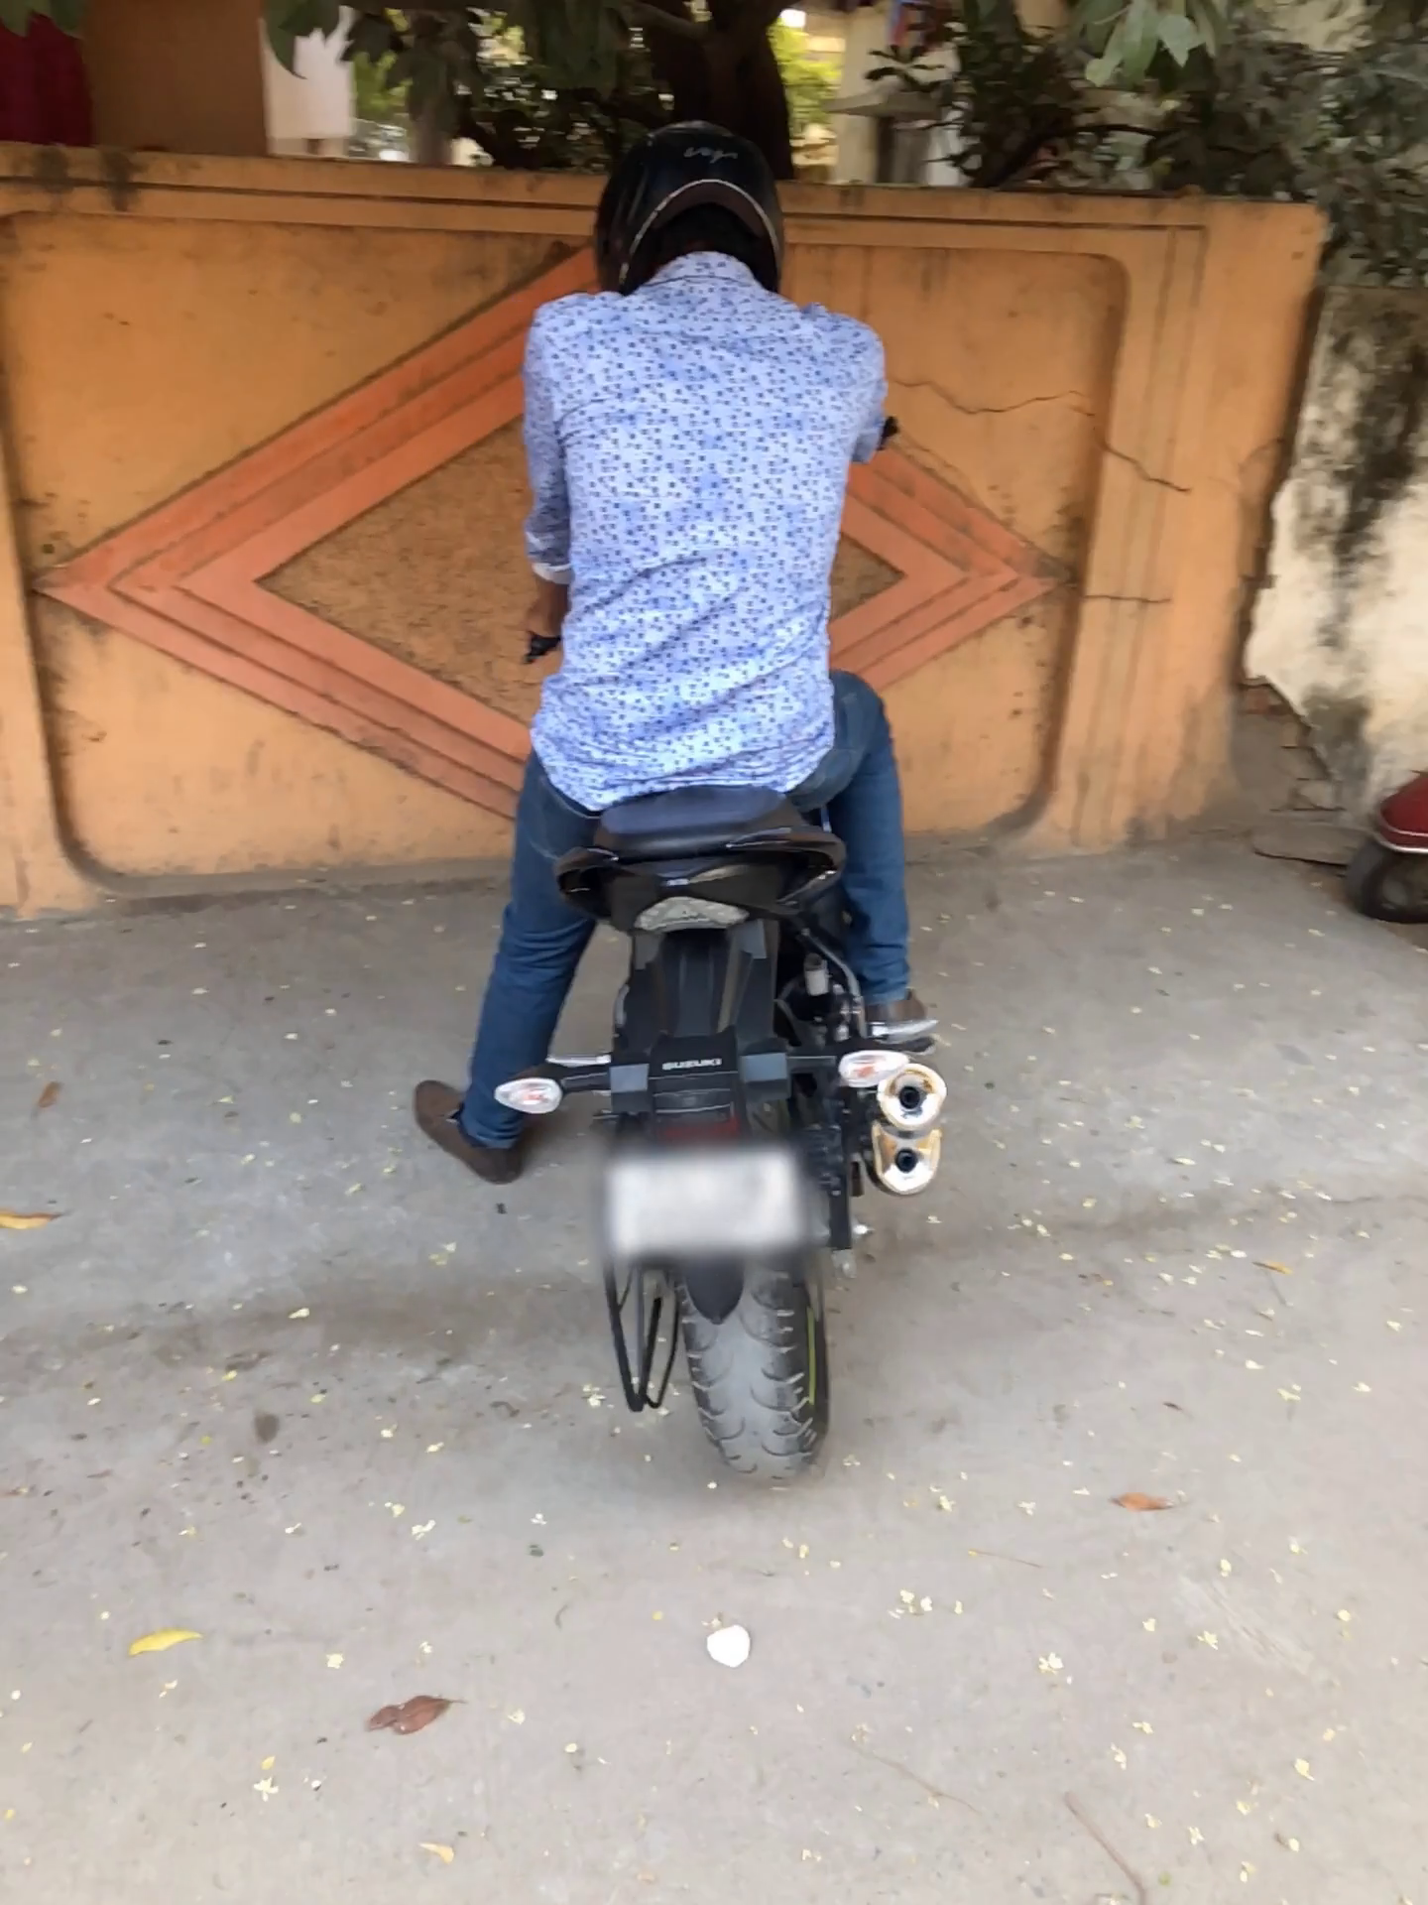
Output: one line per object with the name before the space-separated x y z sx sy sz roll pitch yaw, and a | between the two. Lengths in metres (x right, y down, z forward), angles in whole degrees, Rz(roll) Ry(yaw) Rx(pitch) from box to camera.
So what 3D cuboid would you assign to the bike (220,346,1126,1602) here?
bike | -0.139 -0.205 2.473 0.793 1.187 1.900 1 26 -4
